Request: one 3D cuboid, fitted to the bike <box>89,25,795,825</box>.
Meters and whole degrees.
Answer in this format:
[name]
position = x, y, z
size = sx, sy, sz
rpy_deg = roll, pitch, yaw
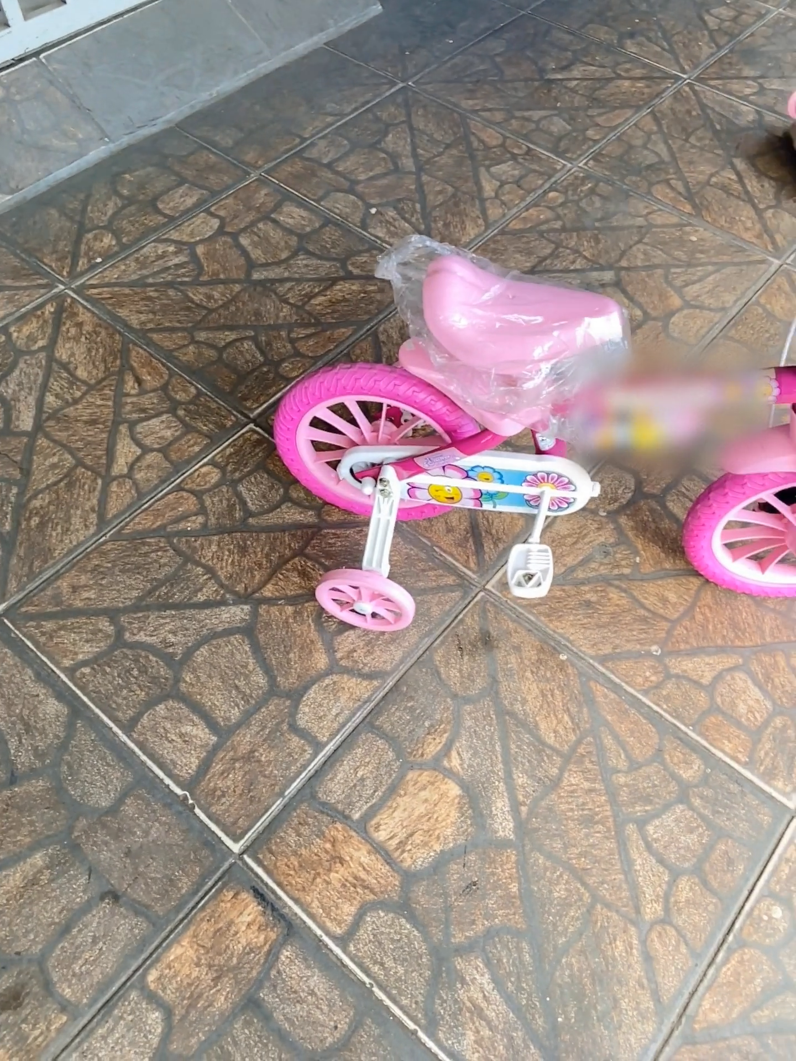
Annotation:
[bike]
position = 0.215, -0.100, 0.907
size = 0.792, 0.563, 0.513
rpy_deg = 10, 55, 7
